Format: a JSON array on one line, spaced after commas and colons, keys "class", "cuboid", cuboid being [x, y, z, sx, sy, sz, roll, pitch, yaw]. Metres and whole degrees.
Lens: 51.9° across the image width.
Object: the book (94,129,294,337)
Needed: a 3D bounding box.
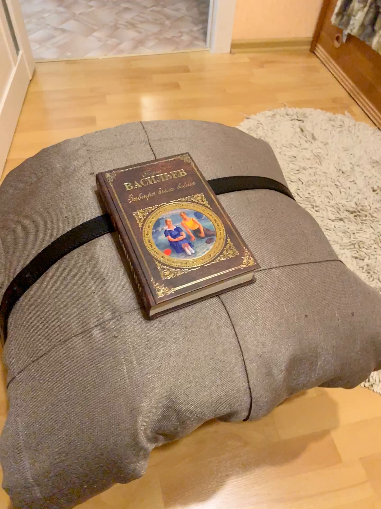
[{"class": "book", "cuboid": [-0.007, -0.038, 0.445, 0.140, 0.050, 0.221, -18, 60, -17]}]
